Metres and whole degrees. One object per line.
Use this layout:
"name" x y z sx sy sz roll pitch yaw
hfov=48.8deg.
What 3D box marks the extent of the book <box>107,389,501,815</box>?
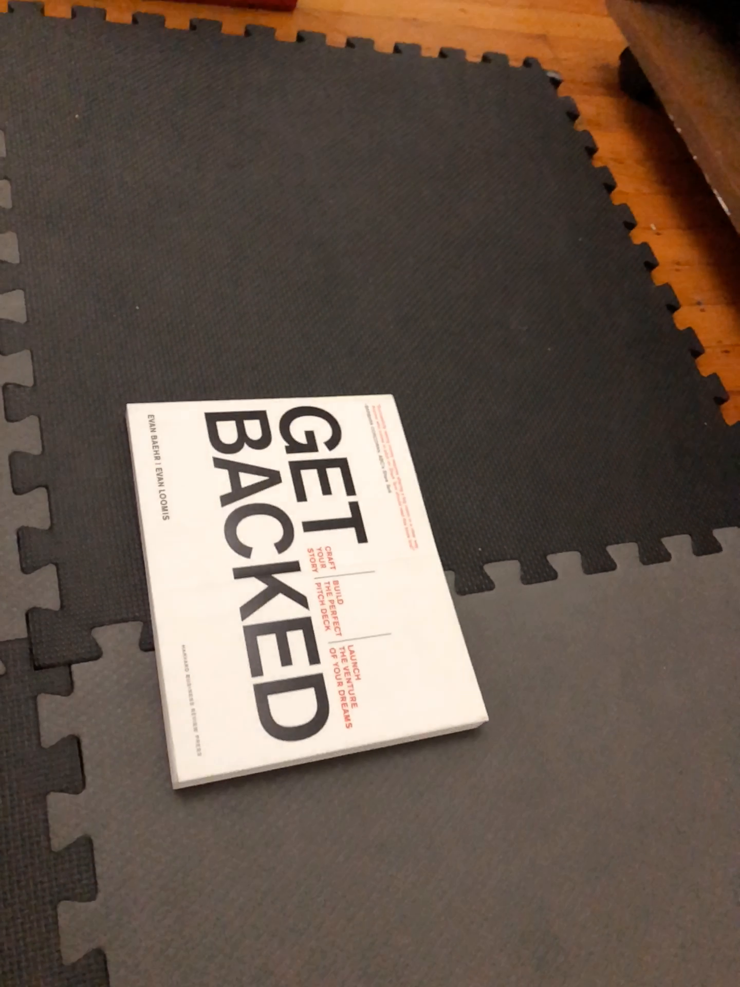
"book" -0.049 0.049 0.532 0.210 0.020 0.260 -5 64 -21
